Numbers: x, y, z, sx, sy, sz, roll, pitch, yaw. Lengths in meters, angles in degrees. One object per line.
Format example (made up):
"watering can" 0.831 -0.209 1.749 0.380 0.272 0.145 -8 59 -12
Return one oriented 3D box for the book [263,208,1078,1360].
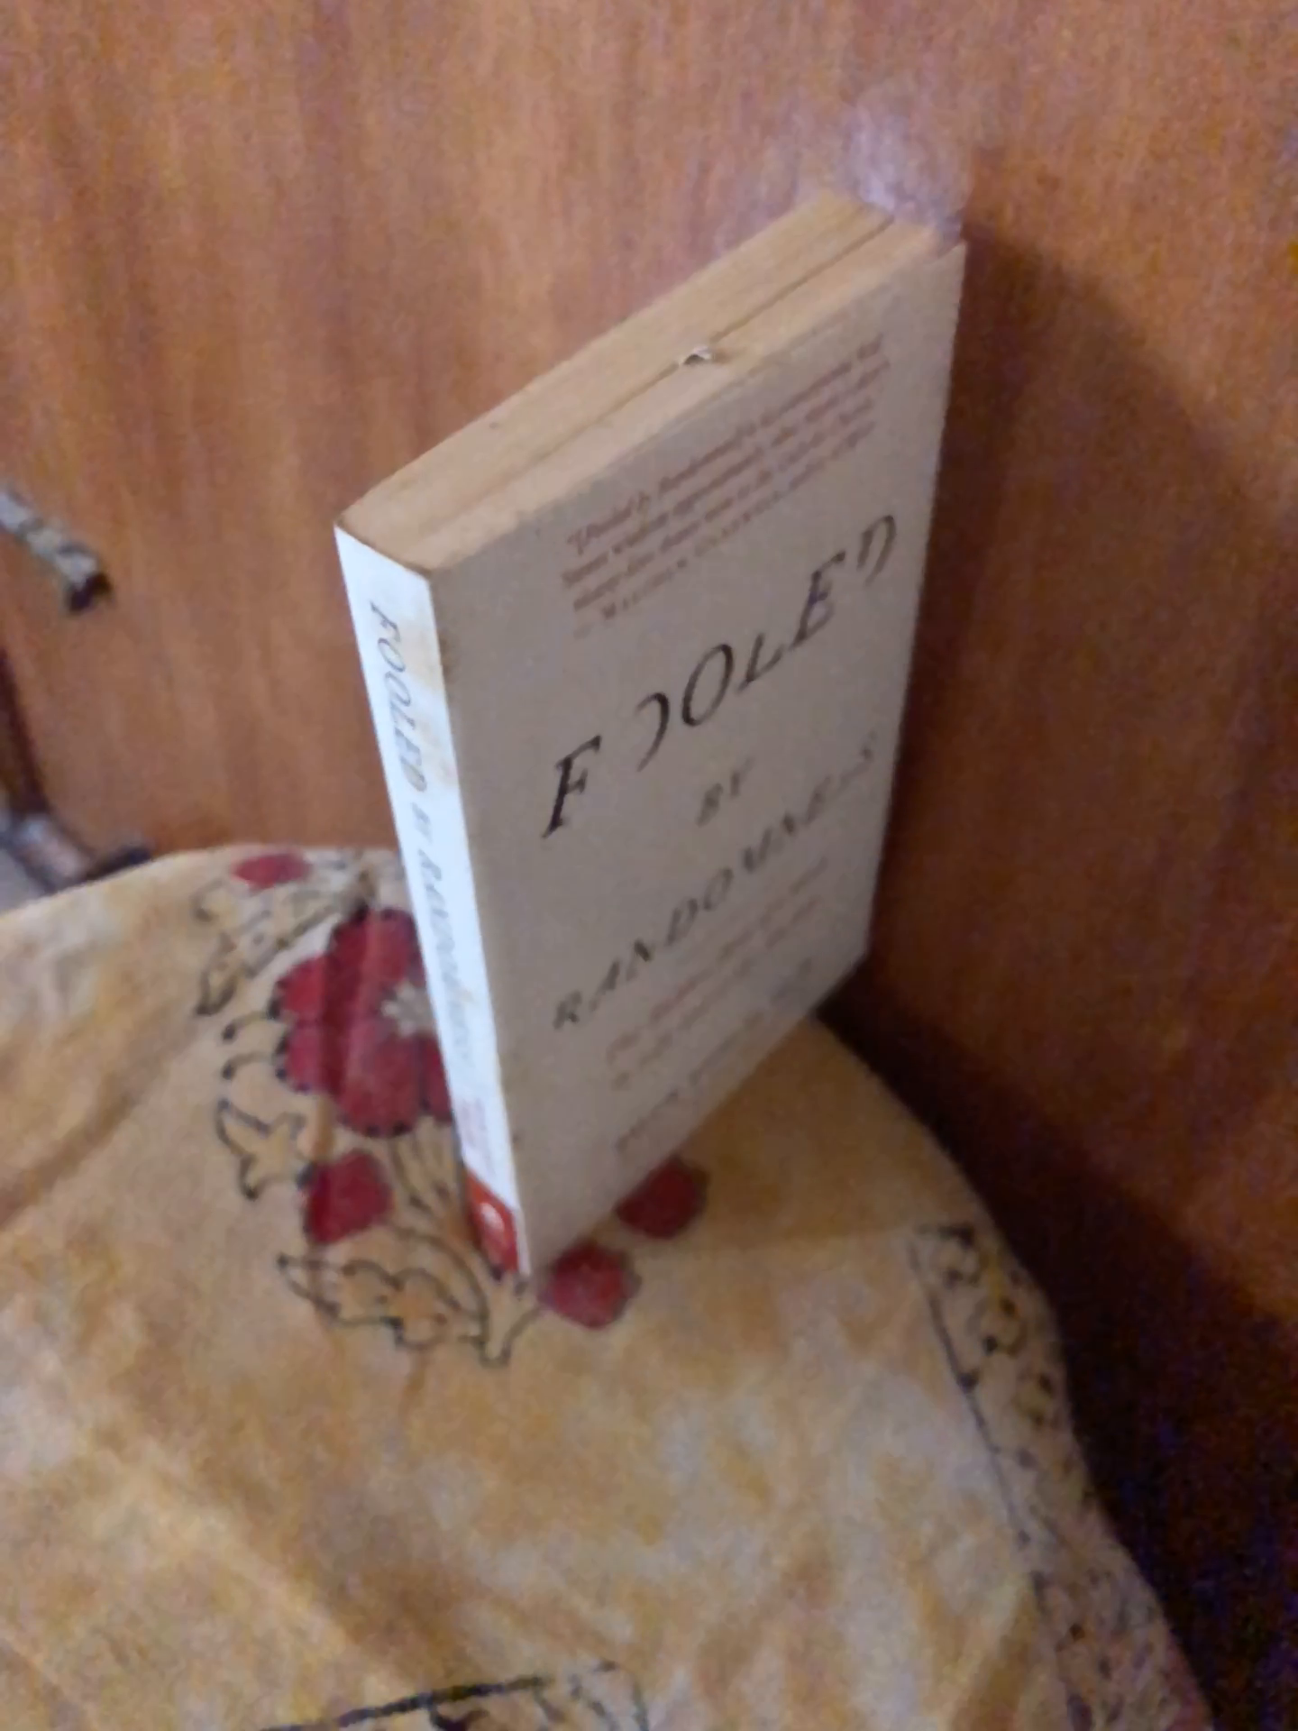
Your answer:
"book" 0.005 -0.012 0.310 0.040 0.199 0.160 34 50 25
